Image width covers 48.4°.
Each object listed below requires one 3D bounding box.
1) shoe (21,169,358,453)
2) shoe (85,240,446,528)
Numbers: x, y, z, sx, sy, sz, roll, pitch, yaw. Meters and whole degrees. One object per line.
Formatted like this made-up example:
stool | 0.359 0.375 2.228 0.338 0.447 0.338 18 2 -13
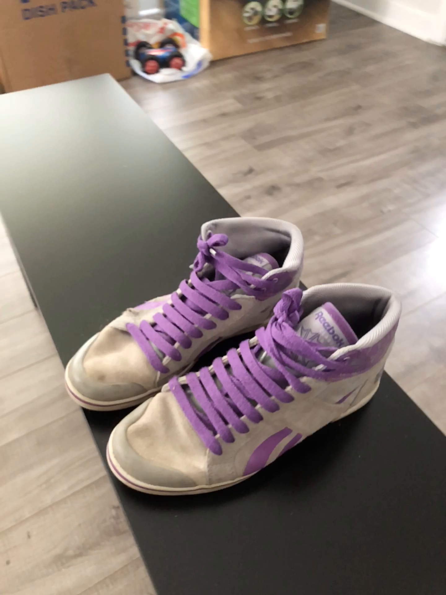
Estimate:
shoe | -0.020 0.002 0.422 0.240 0.120 0.100 -26 52 -24
shoe | 0.037 0.057 0.368 0.240 0.110 0.090 -18 50 -18
